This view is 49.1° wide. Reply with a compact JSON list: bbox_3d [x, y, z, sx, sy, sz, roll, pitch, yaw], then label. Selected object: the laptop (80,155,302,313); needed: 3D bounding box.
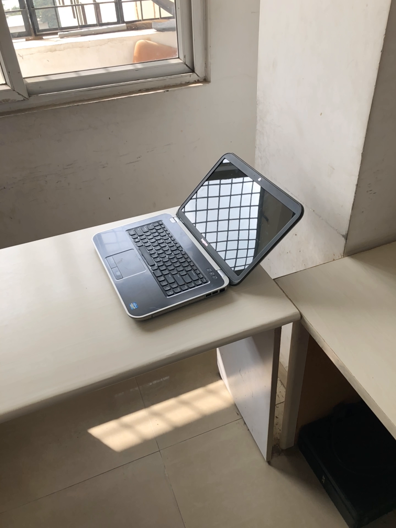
[{"bbox_3d":[-0.029,-0.099,1.067,0.406,0.145,0.343,-17,40,-18],"label":"laptop"}]
